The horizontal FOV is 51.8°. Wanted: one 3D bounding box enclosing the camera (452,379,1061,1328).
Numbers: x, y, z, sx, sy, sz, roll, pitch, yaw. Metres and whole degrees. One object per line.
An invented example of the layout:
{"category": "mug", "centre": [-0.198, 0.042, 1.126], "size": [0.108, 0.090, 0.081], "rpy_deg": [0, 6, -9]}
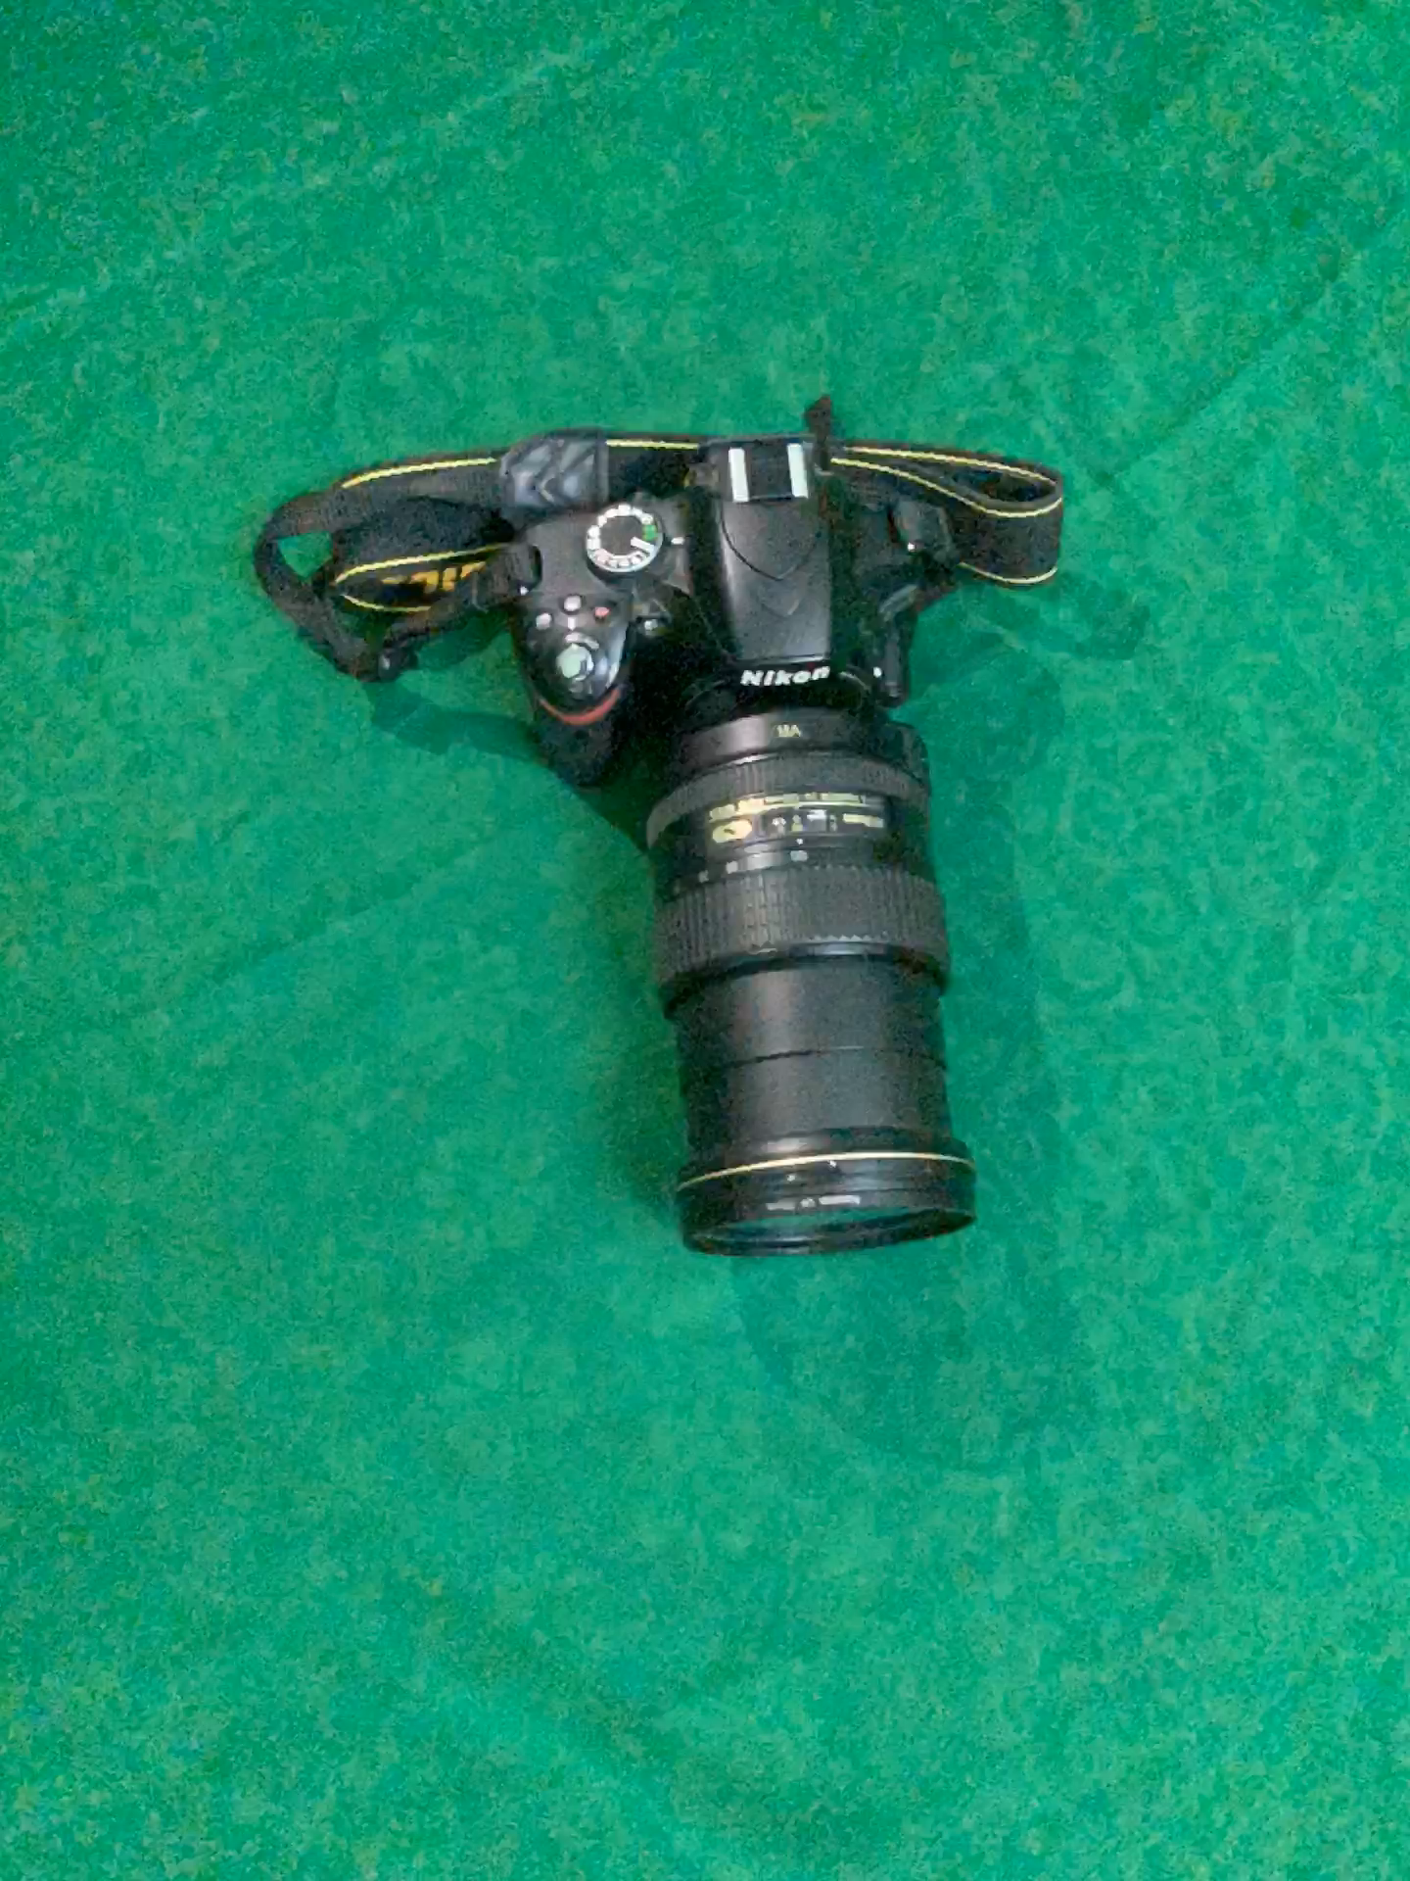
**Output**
{"category": "camera", "centre": [0.006, -0.023, 0.402], "size": [0.122, 0.088, 0.234], "rpy_deg": [-6, 72, -2]}
